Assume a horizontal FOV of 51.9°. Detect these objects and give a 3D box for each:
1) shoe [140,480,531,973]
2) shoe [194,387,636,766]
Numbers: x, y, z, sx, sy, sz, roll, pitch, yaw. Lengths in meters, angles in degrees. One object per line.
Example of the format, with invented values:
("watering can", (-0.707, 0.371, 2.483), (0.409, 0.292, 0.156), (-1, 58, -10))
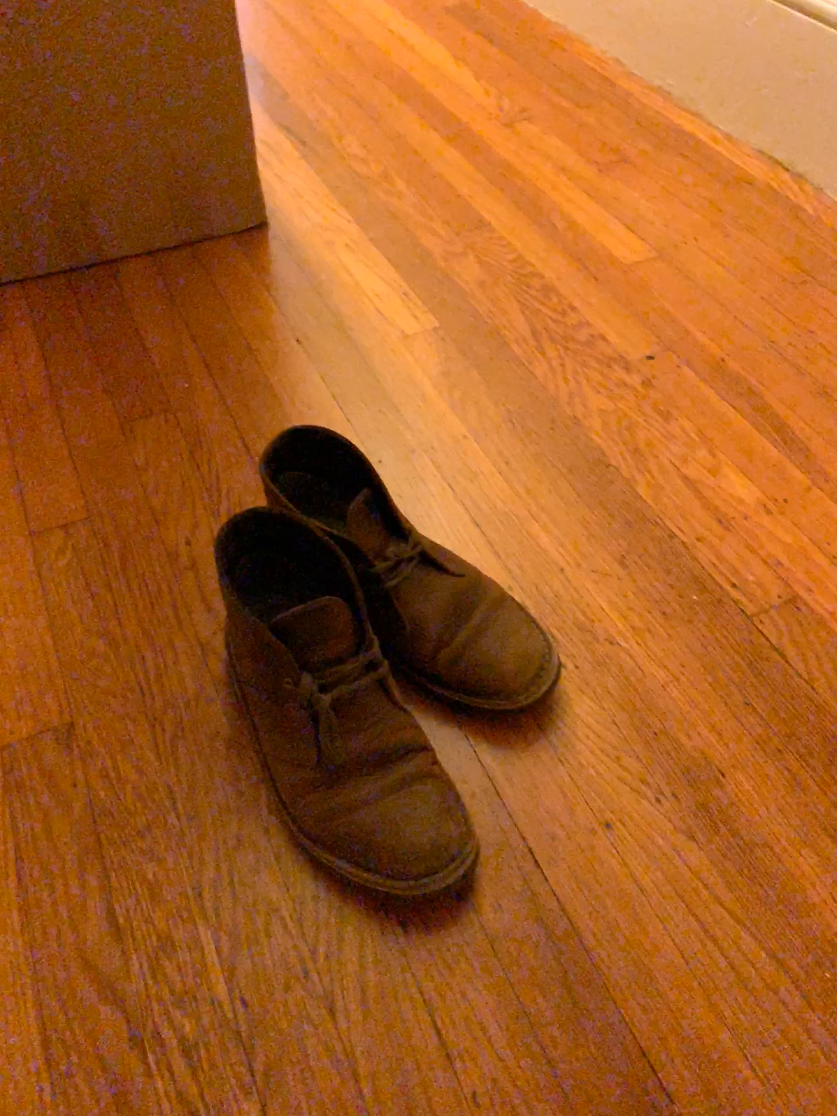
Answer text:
("shoe", (-0.065, 0.098, 0.584), (0.120, 0.119, 0.291), (-26, 54, -20))
("shoe", (-0.009, 0.004, 0.653), (0.301, 0.119, 0.120), (29, 55, 23))
